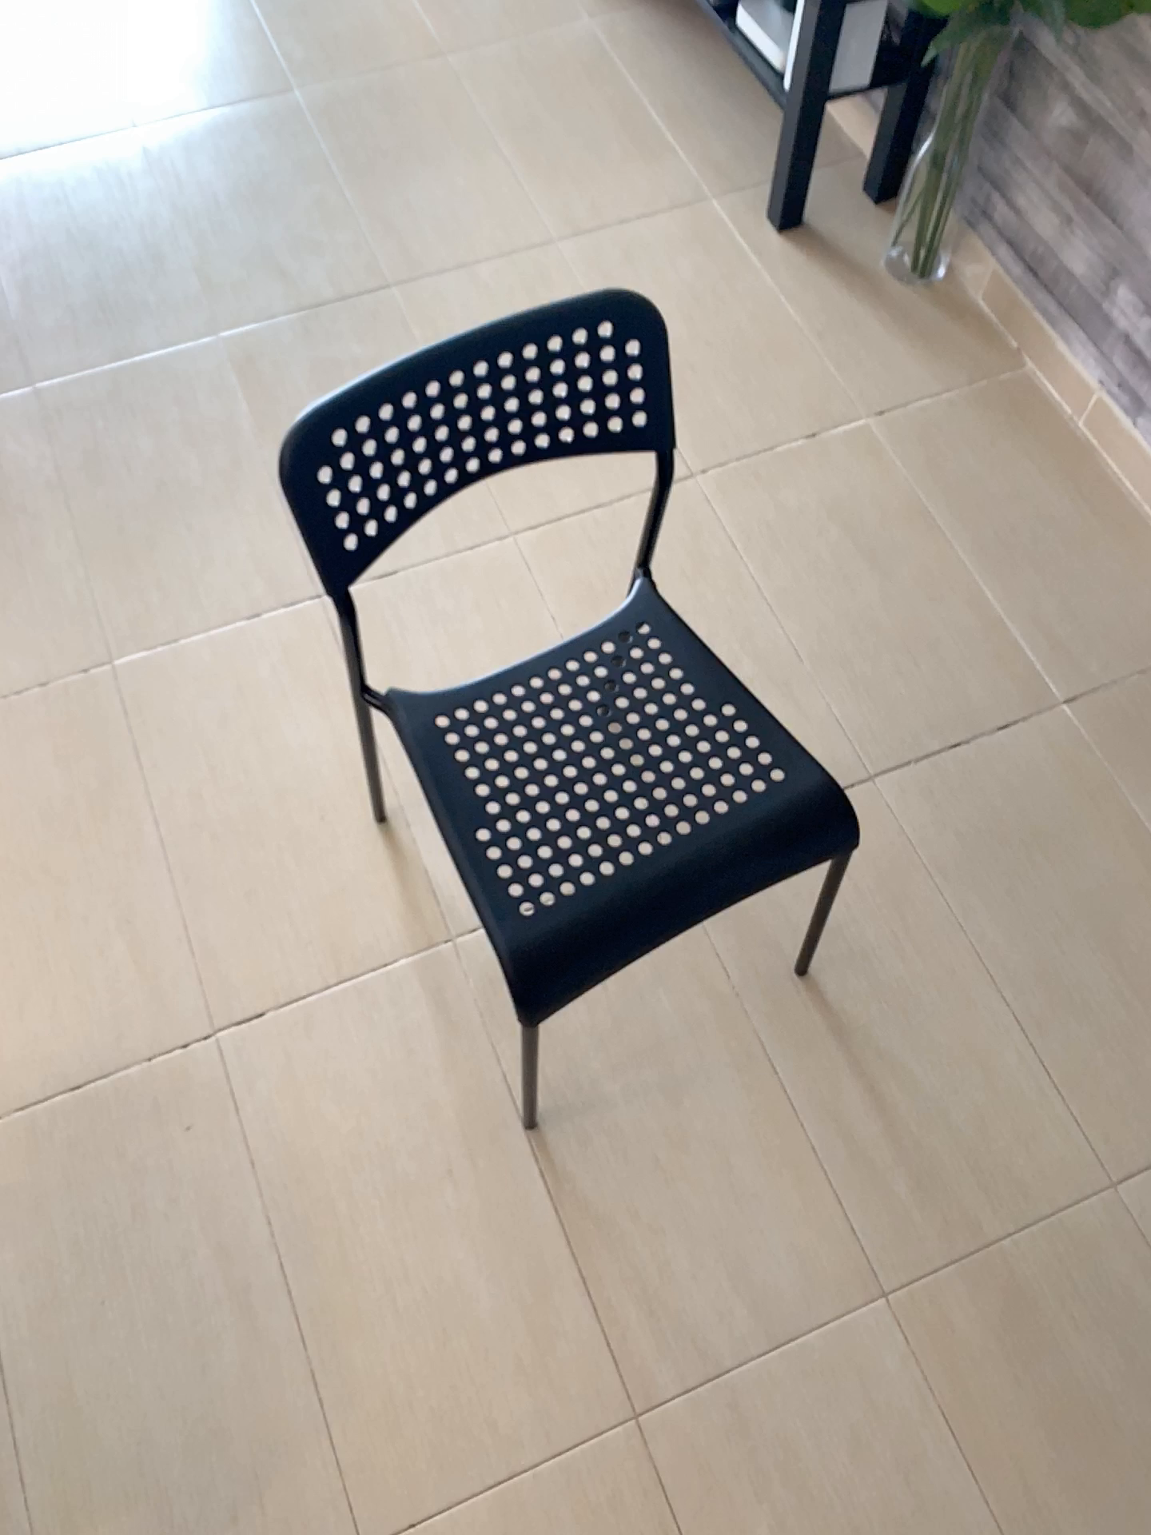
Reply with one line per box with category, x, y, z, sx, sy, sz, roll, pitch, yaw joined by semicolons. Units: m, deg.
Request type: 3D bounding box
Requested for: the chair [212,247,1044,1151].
chair;0.017;-0.008;1.173;0.420;0.688;0.491;-26;66;-14
